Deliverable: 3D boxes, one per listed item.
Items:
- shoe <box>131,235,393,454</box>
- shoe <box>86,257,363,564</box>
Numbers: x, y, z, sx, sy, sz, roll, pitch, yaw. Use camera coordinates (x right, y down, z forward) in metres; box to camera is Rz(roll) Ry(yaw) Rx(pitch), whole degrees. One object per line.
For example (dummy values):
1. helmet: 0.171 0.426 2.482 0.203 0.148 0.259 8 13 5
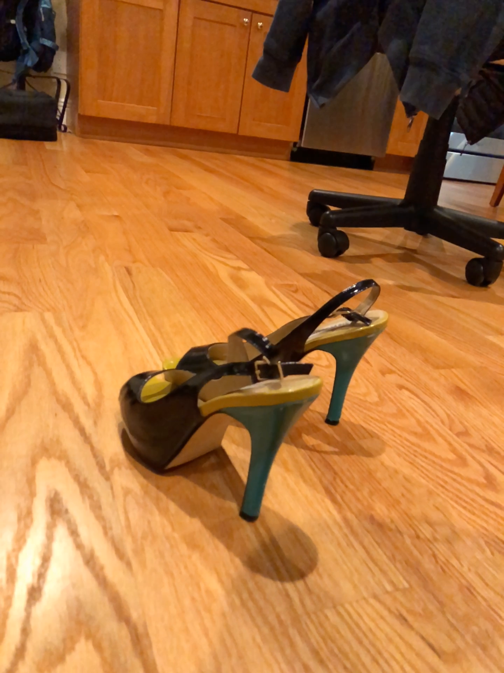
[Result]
1. shoe: 0.008 0.001 0.489 0.201 0.131 0.085 12 22 9
2. shoe: -0.037 0.032 0.397 0.085 0.121 0.204 -9 28 -37
